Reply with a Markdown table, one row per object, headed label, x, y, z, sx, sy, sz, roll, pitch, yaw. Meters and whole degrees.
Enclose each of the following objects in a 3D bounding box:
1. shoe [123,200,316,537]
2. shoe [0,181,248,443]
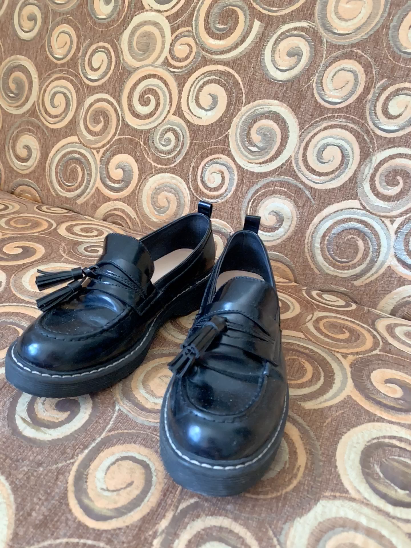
| label | x | y | z | sx | sy | sz | roll | pitch | yaw |
| --- | --- | --- | --- | --- | --- | --- | --- | --- | --- |
| shoe | 0.022 | 0.039 | 0.321 | 0.090 | 0.099 | 0.241 | 10 | 32 | 6 |
| shoe | -0.064 | 0.007 | 0.367 | 0.090 | 0.099 | 0.241 | 22 | 35 | 25 |
